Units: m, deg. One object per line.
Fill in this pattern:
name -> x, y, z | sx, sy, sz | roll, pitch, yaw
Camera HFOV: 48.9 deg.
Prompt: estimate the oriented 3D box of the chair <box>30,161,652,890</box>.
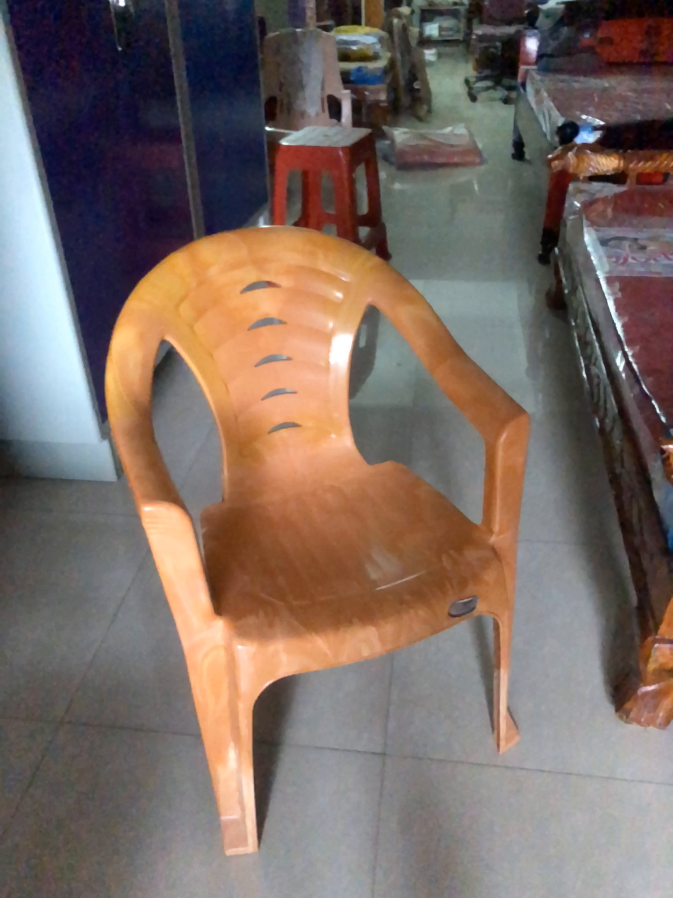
chair -> -0.039, 0.076, 1.196 | 0.631, 0.845, 0.602 | -14, 35, -18
